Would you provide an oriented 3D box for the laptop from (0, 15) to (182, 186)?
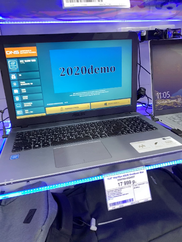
[{"bbox_3d":[-0.010,-0.077,0.414,0.372,0.232,0.263,-8,20,-13],"label":"laptop"}]
